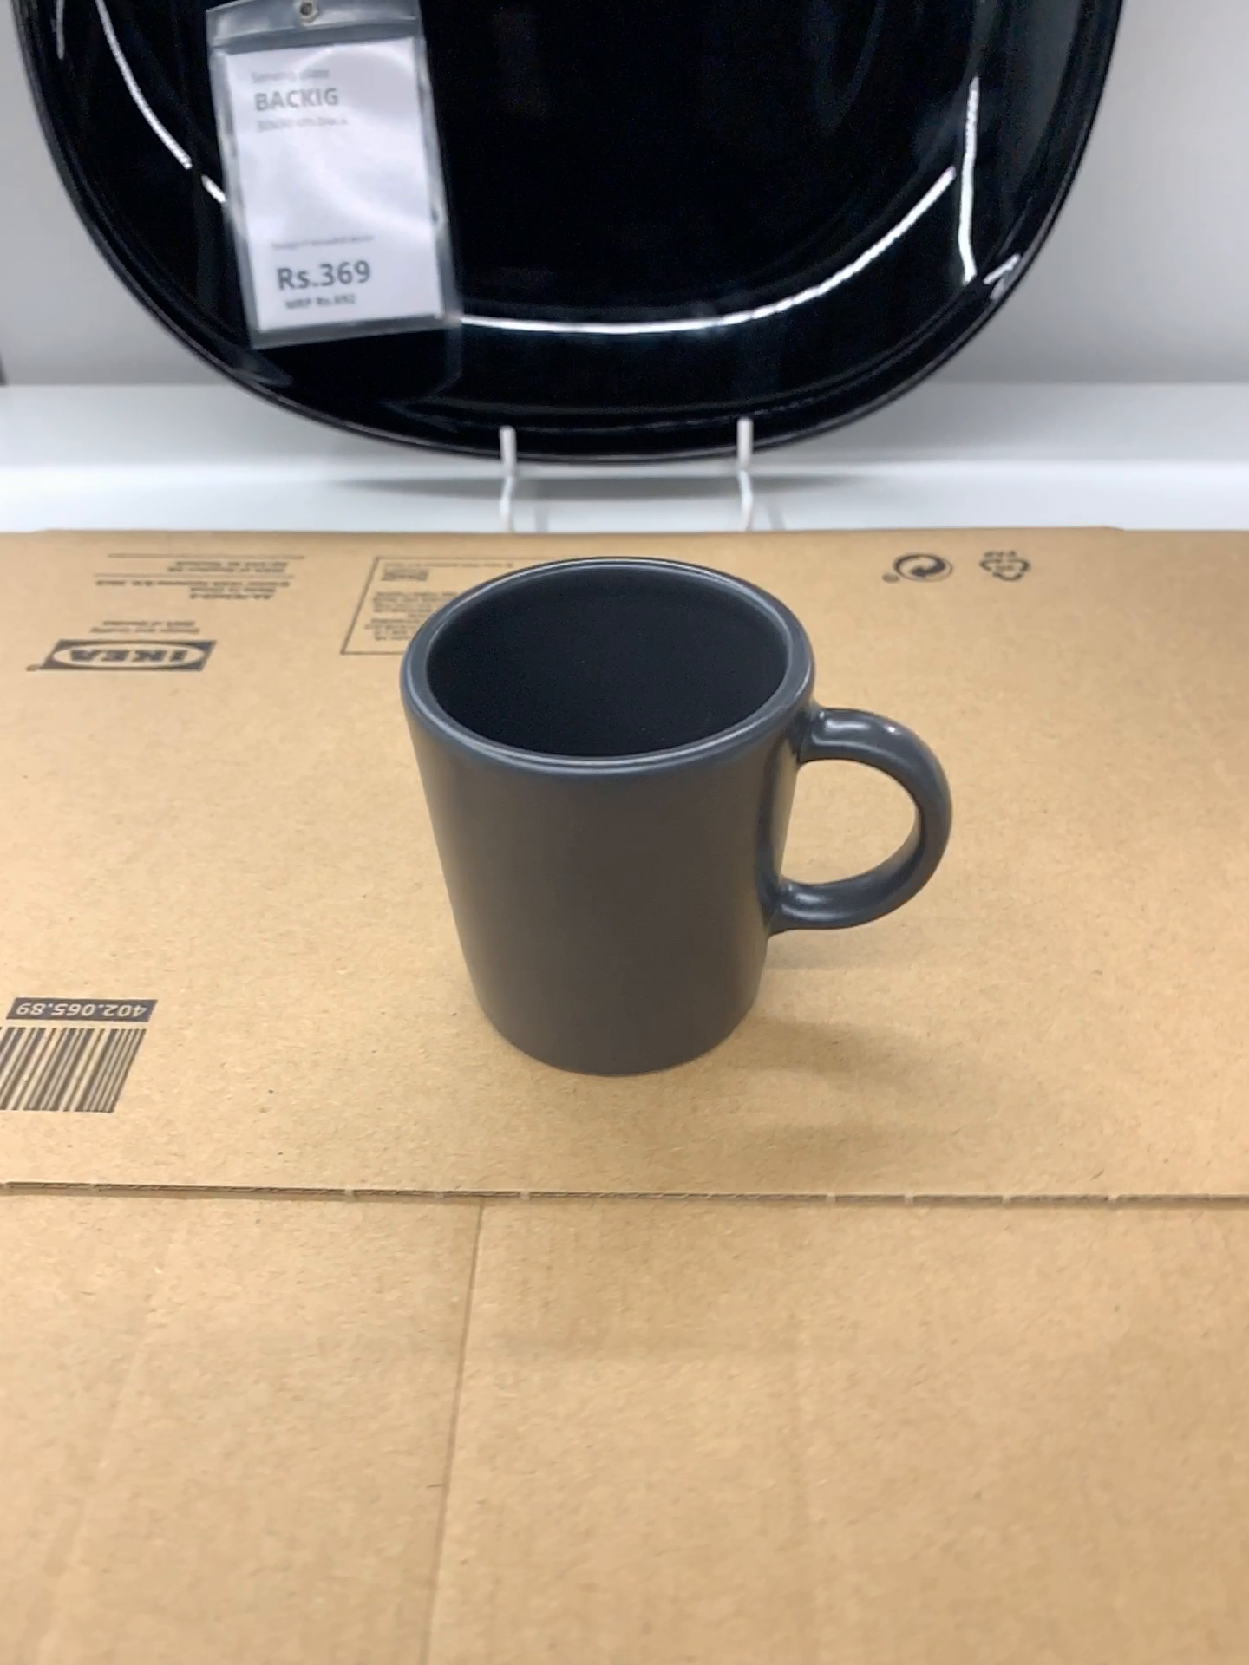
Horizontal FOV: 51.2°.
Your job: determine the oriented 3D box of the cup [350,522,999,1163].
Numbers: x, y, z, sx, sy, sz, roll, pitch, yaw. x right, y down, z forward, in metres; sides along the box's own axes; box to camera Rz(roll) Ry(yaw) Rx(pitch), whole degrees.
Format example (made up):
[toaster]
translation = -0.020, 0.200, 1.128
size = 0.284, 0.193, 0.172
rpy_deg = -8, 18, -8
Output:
[cup]
translation = 0.010, -0.001, 0.203
size = 0.080, 0.070, 0.060
rpy_deg = 6, 37, 9
